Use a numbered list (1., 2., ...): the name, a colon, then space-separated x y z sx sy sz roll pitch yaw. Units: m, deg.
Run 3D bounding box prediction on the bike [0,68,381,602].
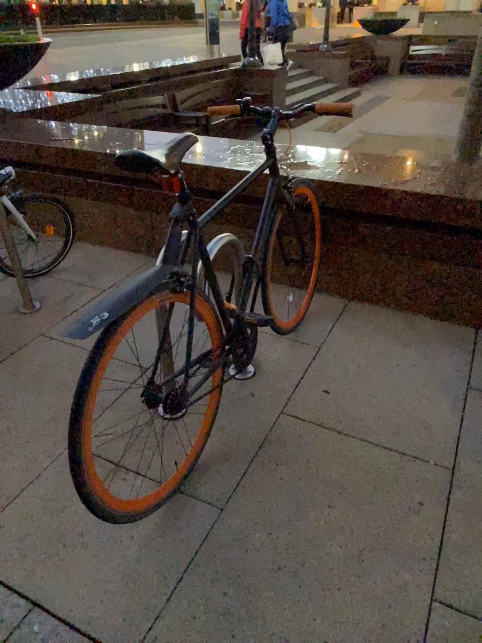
1. bike: -0.041 -0.202 1.678 0.525 0.981 1.647 14 37 23
